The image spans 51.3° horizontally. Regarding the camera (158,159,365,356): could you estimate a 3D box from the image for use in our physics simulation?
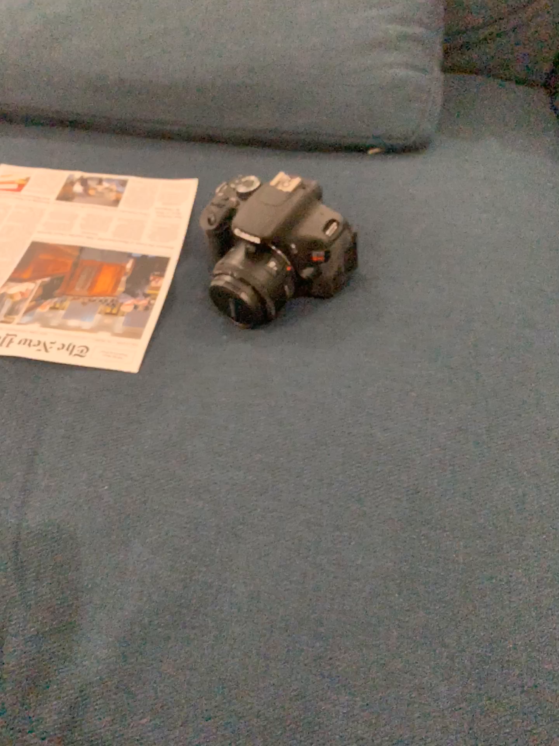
[{"bbox_3d":[-0.013,-0.107,0.520,0.128,0.090,0.122,26,53,24],"label":"camera"}]
